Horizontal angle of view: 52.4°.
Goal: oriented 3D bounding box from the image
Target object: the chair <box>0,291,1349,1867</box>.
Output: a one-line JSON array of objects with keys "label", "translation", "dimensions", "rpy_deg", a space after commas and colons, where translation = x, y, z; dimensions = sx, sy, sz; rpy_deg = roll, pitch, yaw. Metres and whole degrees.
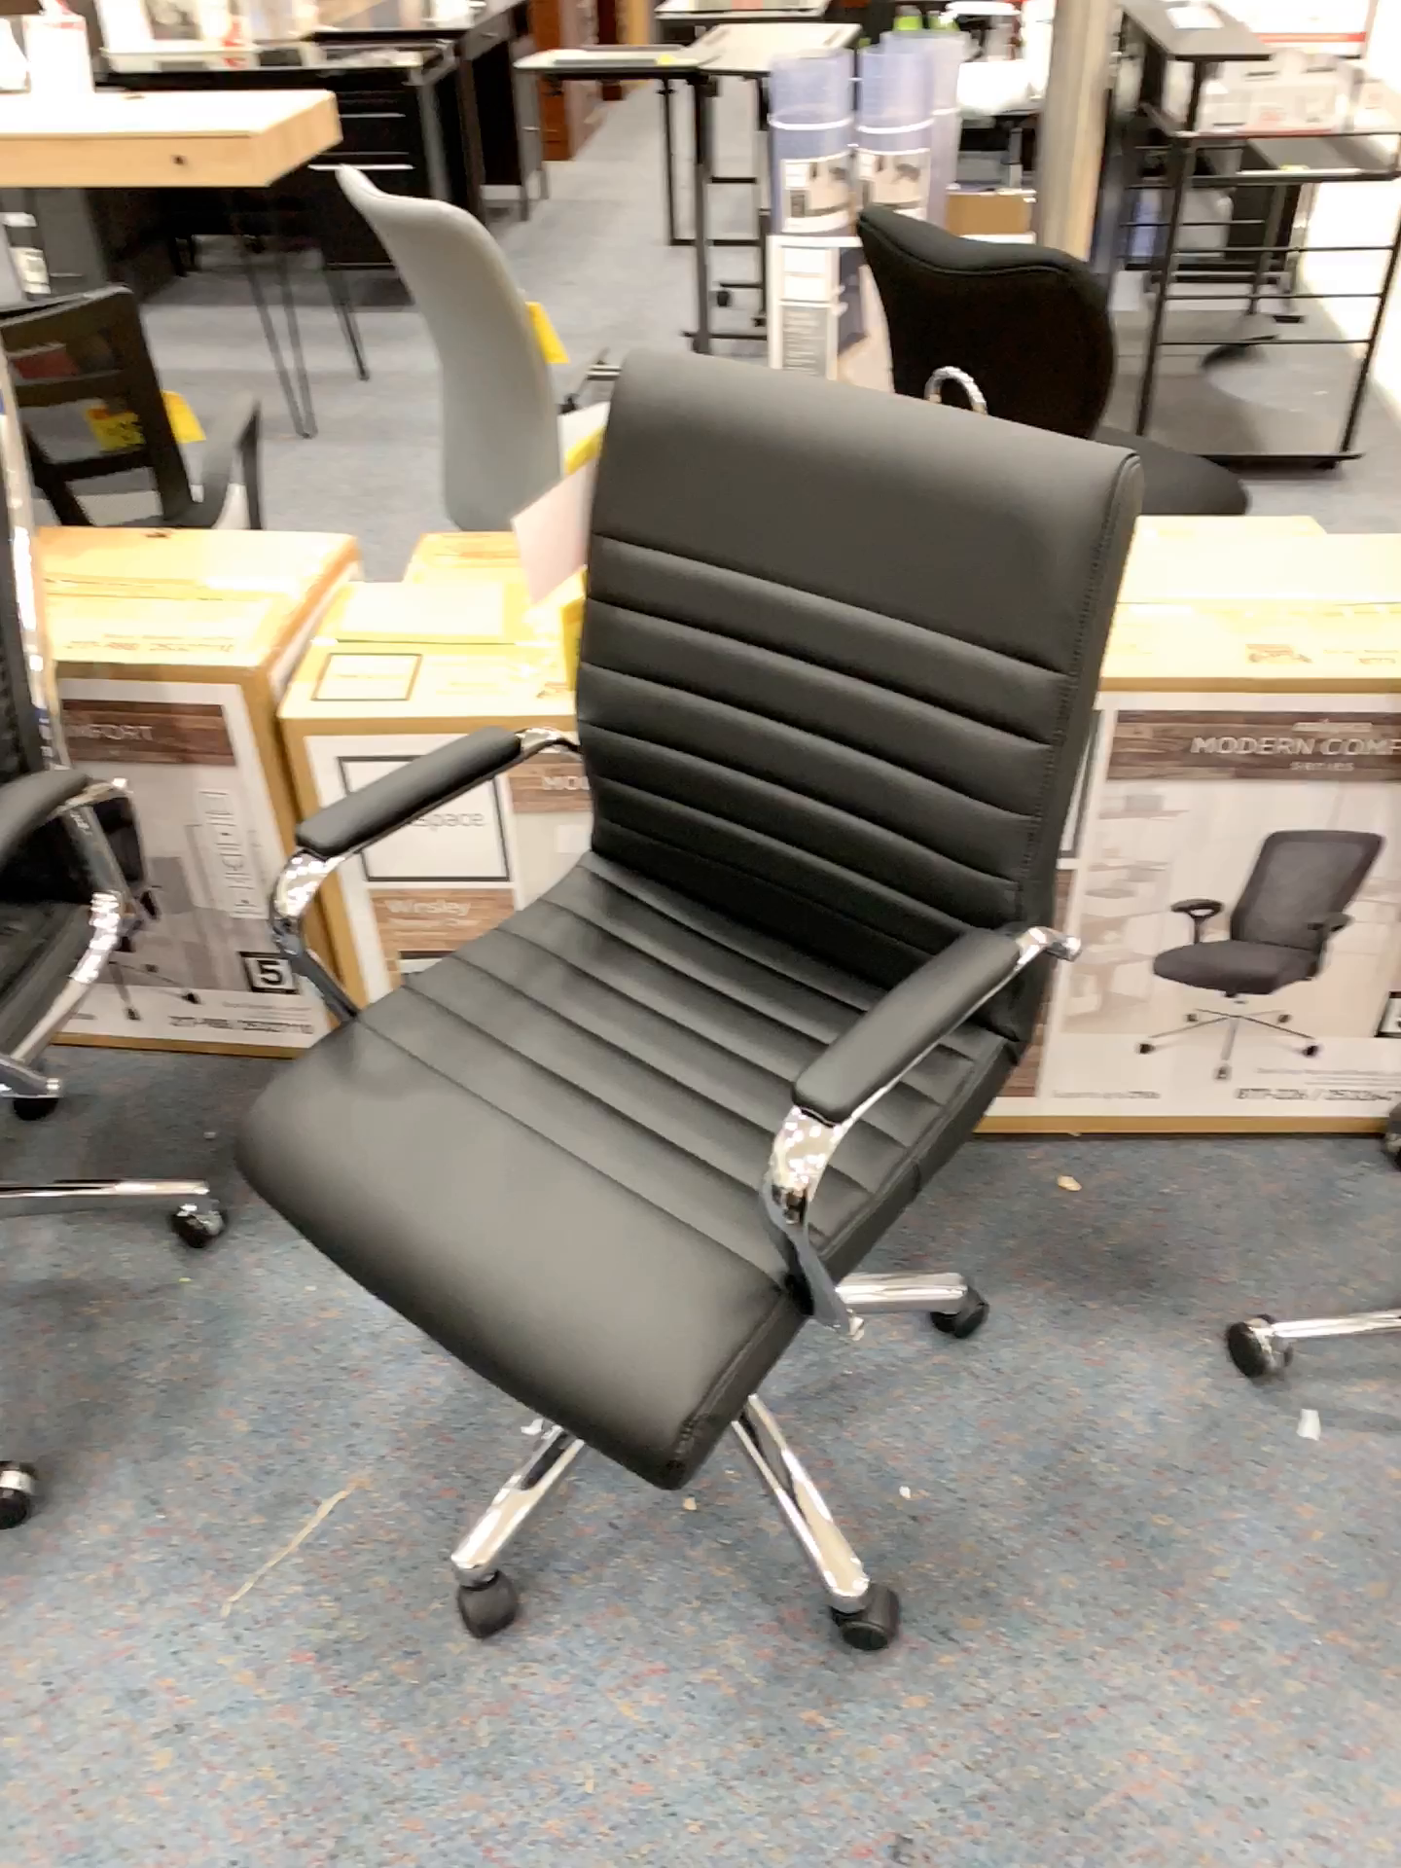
[{"label": "chair", "translation": [-0.029, 0.095, 1.186], "dimensions": [0.656, 0.953, 0.650], "rpy_deg": [26, 46, 31]}]

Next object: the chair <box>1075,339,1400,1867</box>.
[{"label": "chair", "translation": [0.897, 0.099, 1.206], "dimensions": [0.734, 0.873, 0.723], "rpy_deg": [-16, 41, -17]}]
